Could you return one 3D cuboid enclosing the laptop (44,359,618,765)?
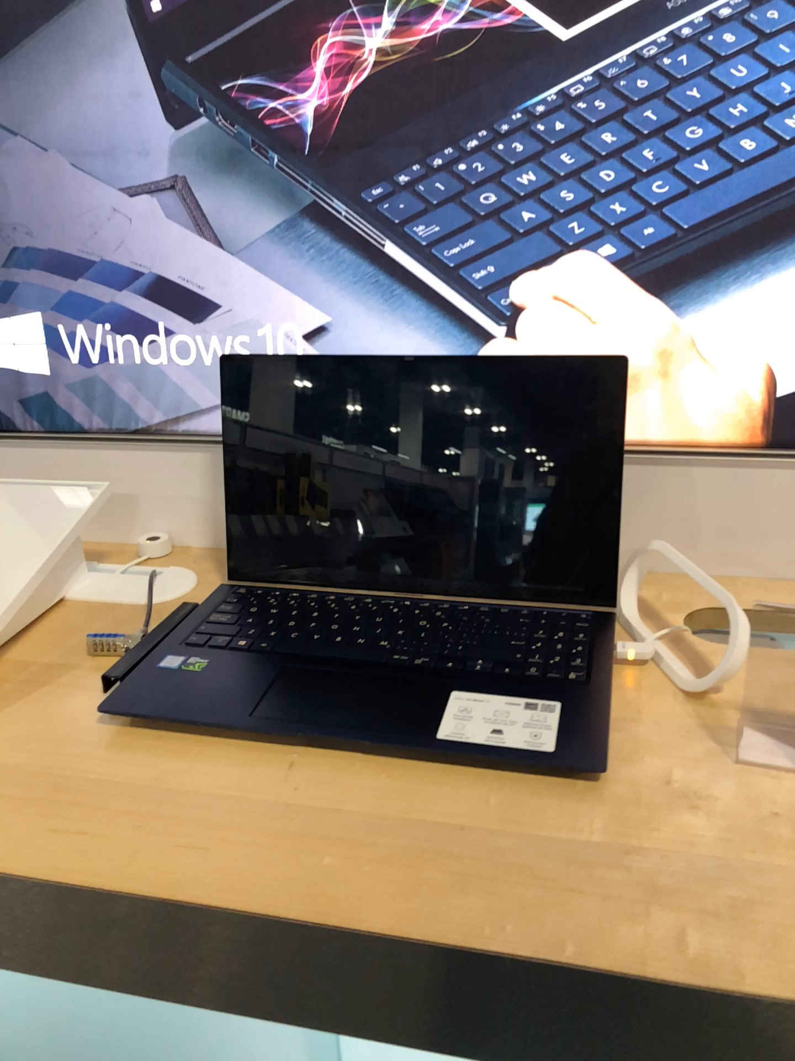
[{"bbox_3d":[-0.020,-0.004,0.644,0.336,0.196,0.250,3,22,16],"label":"laptop"}]
